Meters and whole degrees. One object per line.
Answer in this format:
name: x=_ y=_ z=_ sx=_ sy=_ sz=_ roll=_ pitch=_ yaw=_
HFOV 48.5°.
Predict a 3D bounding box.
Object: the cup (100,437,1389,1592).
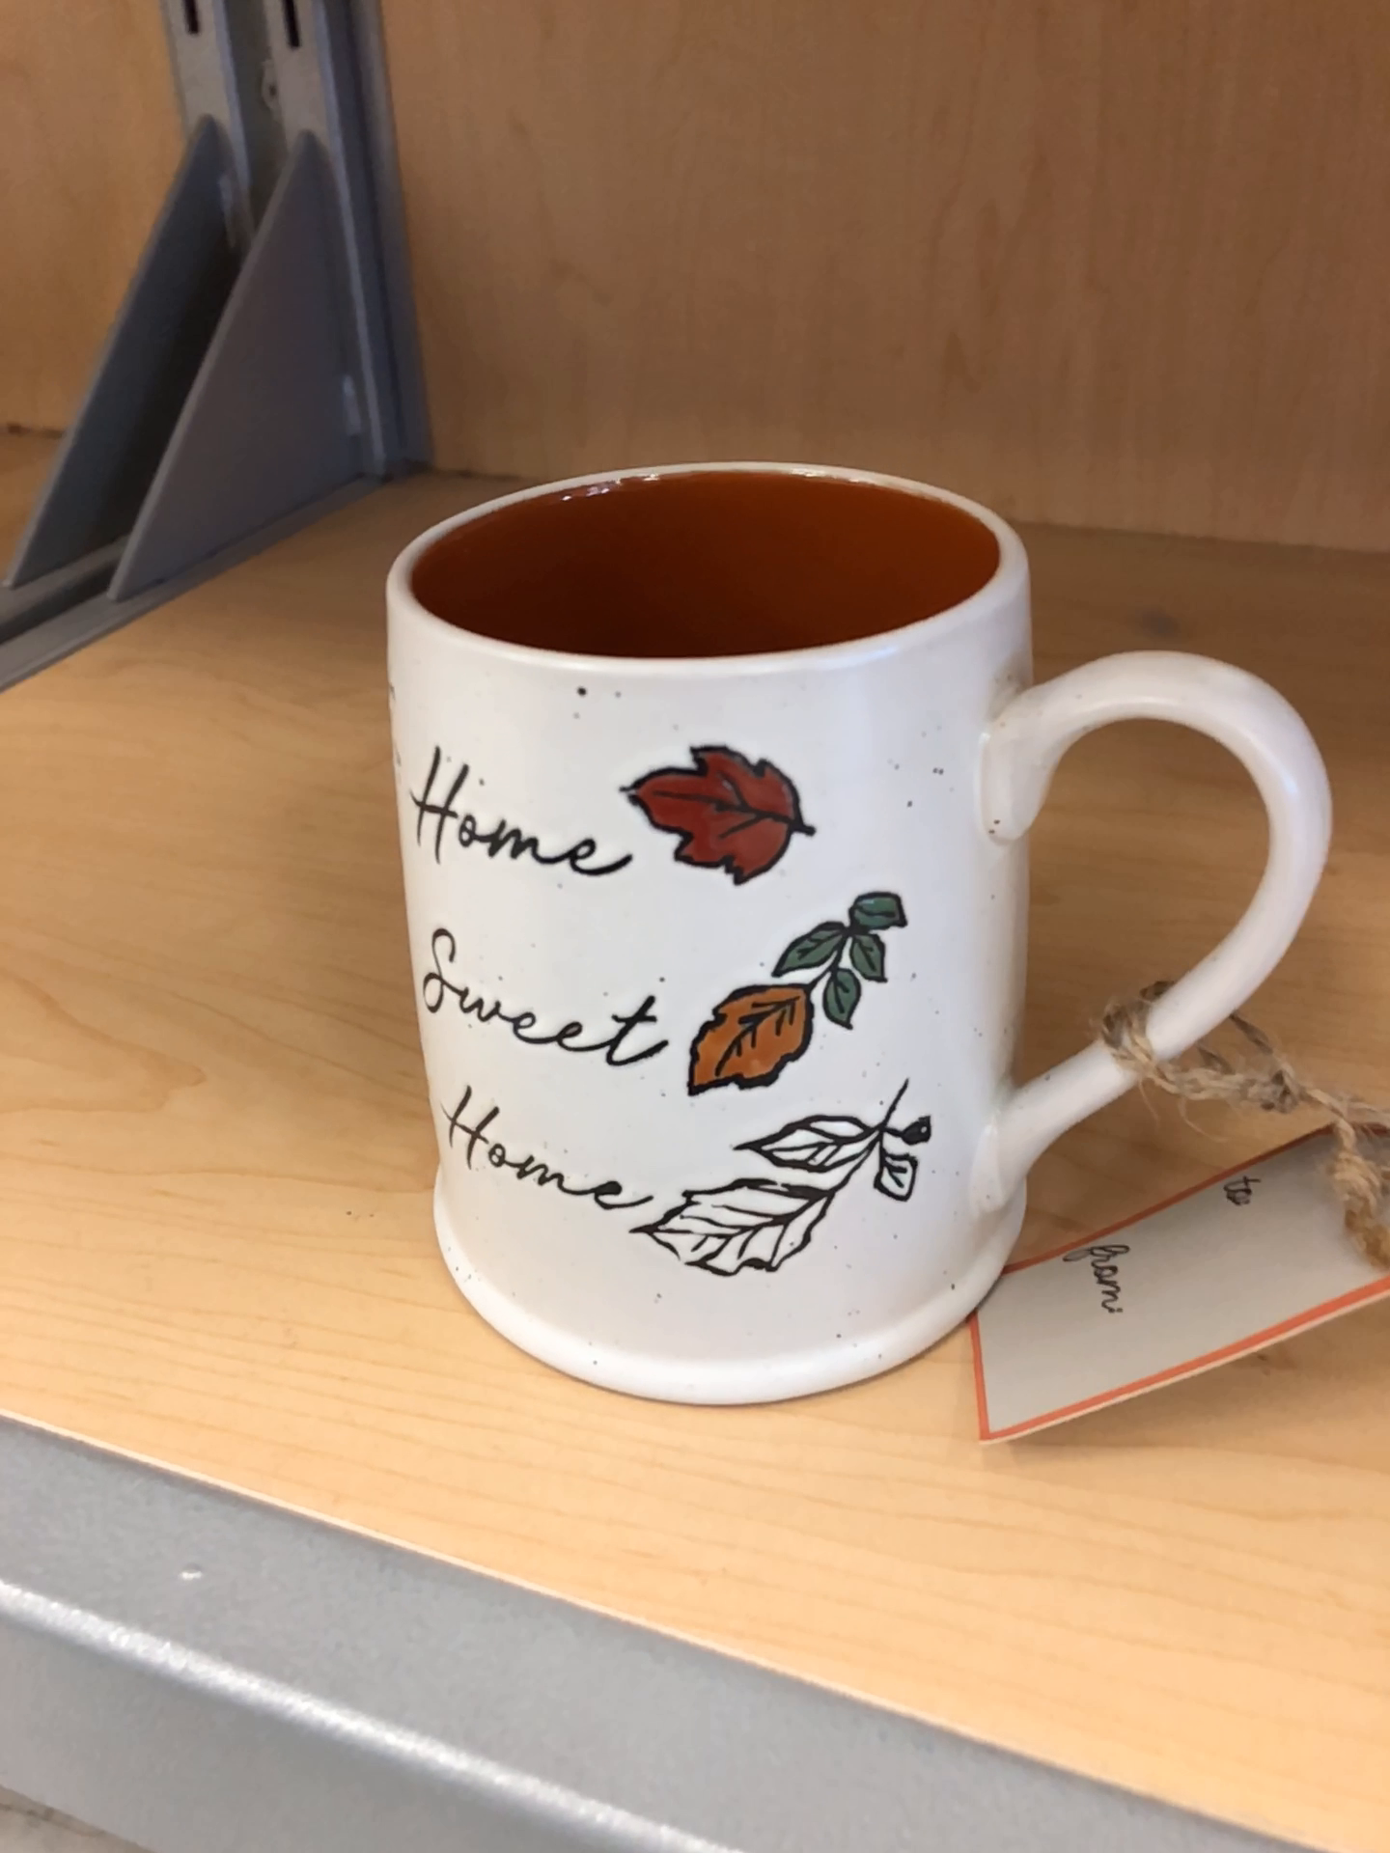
cup: x=0.014 y=0.002 z=0.196 sx=0.125 sy=0.099 sz=0.081 roll=9 pitch=34 yaw=18
